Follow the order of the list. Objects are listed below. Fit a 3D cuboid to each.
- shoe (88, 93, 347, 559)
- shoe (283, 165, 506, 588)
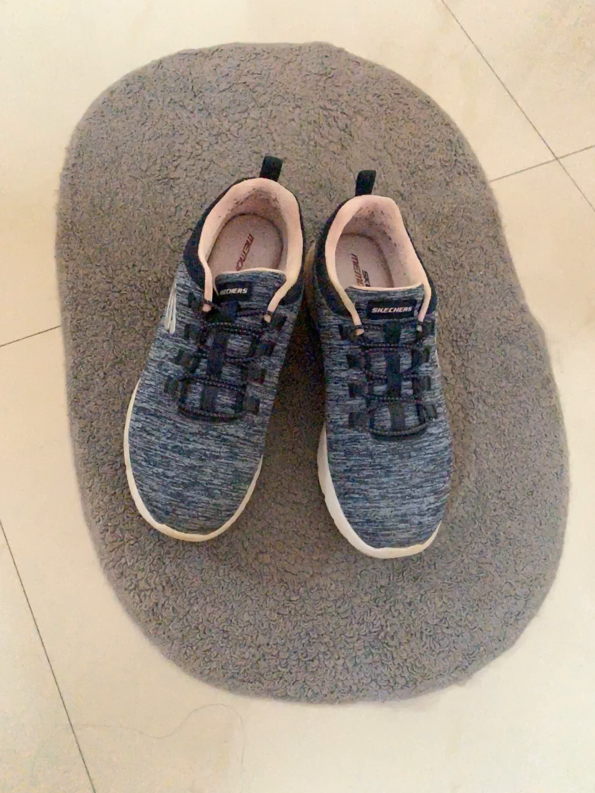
[{"bbox_3d":[-0.042,-0.046,0.395,0.090,0.100,0.271,13,67,-6],"label":"shoe"},{"bbox_3d":[0.055,-0.018,0.449,0.100,0.100,0.291,-3,69,-7],"label":"shoe"}]
